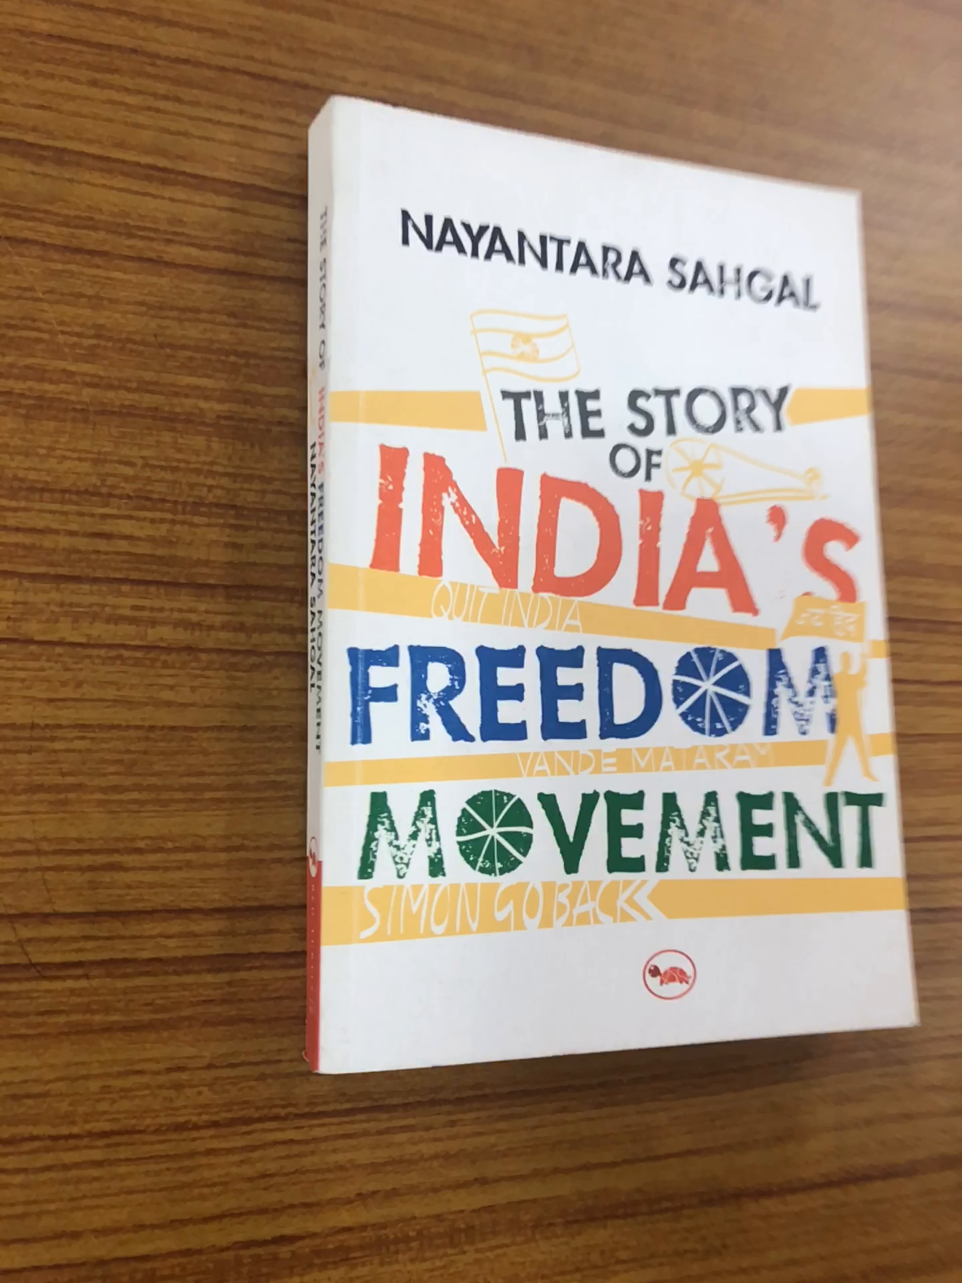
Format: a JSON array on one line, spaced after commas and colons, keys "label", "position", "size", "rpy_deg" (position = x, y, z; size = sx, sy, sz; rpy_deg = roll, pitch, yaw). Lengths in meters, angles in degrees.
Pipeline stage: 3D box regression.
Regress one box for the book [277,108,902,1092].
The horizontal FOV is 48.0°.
[{"label": "book", "position": [0.024, -0.009, 0.240], "size": [0.130, 0.030, 0.190], "rpy_deg": [2, 83, -17]}]
